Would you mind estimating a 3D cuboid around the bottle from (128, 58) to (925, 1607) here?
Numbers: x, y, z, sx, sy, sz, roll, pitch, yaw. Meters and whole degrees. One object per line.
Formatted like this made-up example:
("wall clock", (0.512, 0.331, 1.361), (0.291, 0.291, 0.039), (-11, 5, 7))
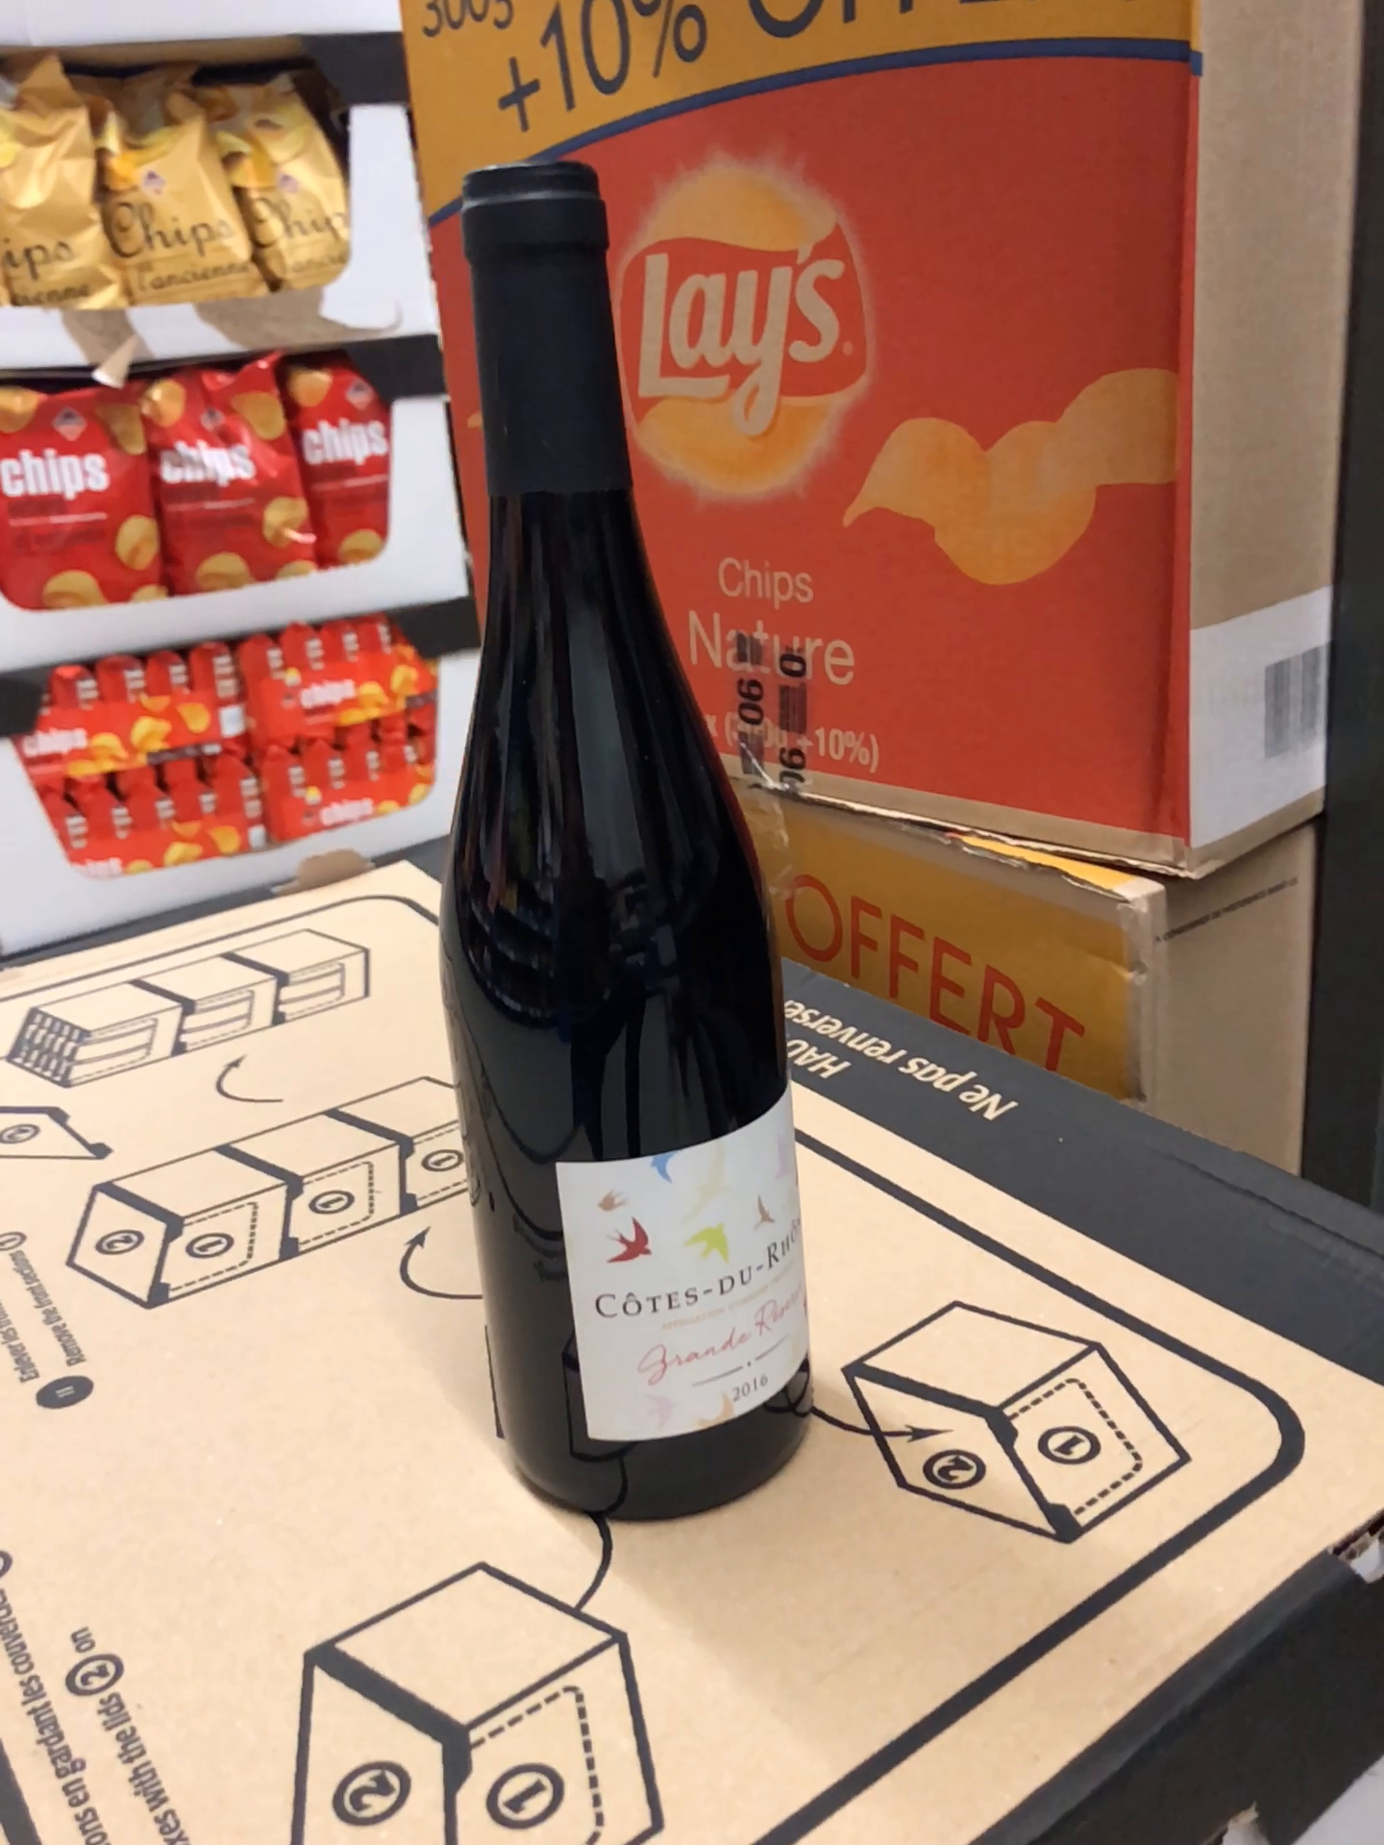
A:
("bottle", (-0.026, -0.016, 0.337), (0.100, 0.289, 0.090), (-21, 23, -36))
